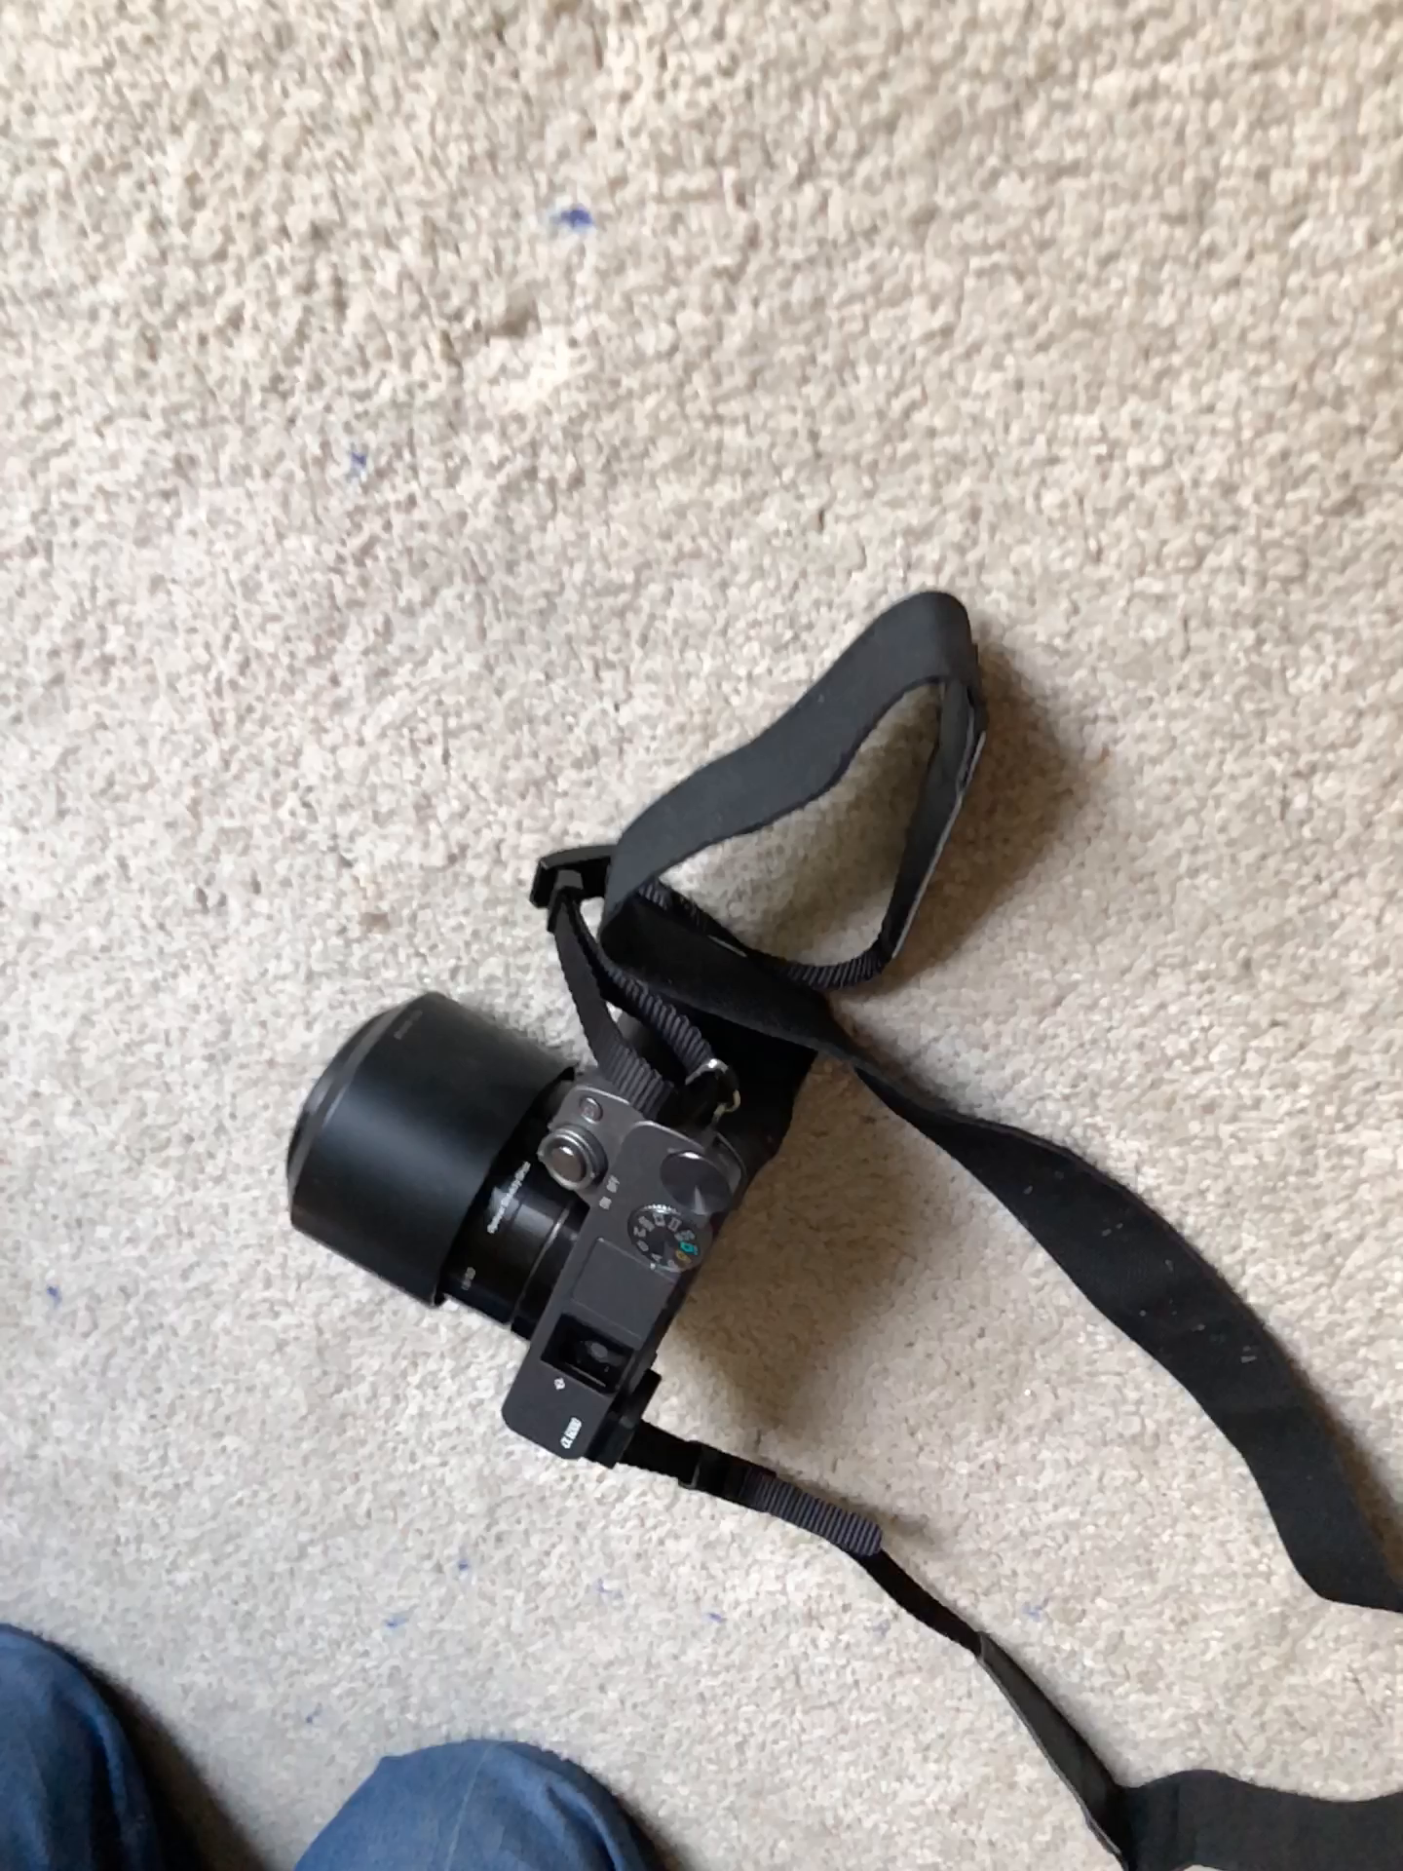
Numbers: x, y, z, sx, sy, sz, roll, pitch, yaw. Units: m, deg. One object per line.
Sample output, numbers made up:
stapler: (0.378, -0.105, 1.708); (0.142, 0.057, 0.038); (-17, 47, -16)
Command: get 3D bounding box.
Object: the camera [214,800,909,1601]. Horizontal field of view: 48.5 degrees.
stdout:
camera: (-0.037, 0.064, 0.361); (0.110, 0.070, 0.141); (27, 127, 6)
